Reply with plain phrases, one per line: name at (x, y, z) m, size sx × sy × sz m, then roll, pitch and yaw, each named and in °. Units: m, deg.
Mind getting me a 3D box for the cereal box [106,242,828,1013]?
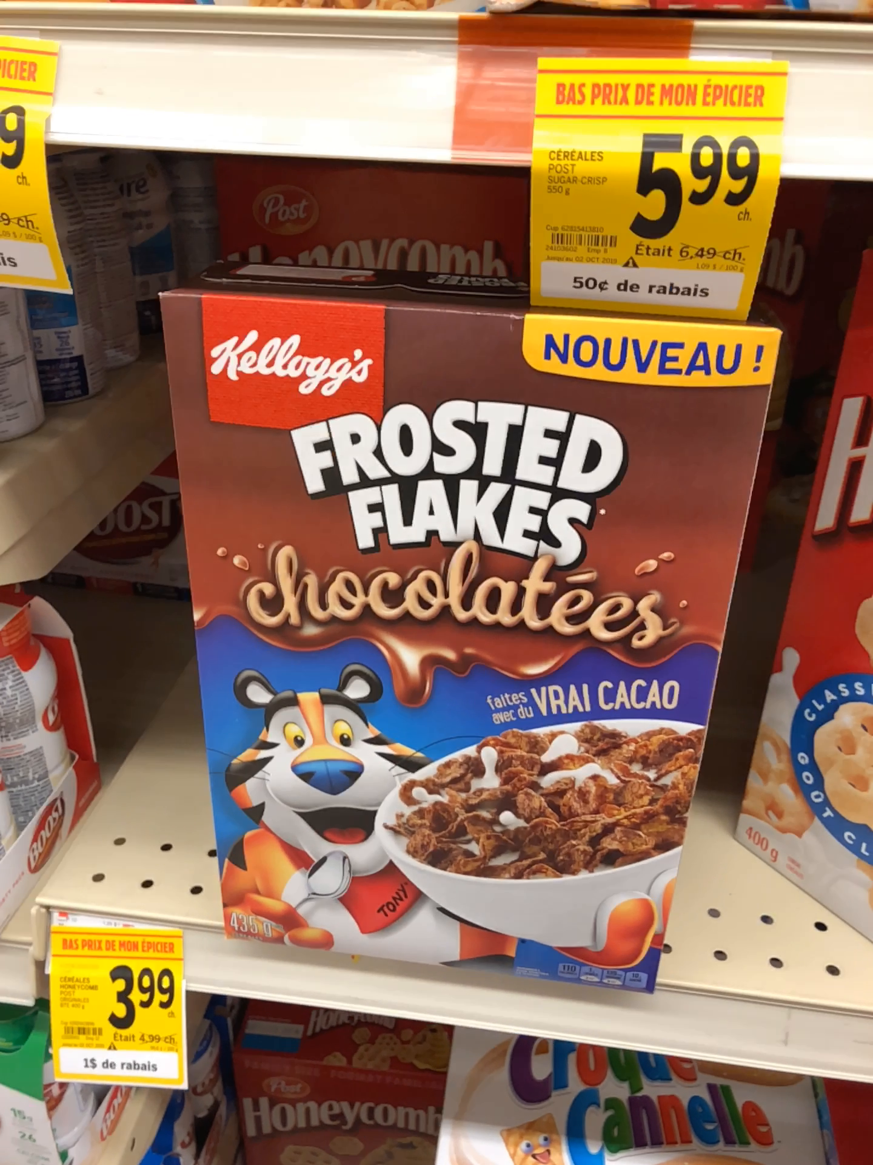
cereal box at (0.005, 0.026, 0.374) m, size 0.210 × 0.278 × 0.071 m, roll 6°, pitch 28°, yaw 7°
